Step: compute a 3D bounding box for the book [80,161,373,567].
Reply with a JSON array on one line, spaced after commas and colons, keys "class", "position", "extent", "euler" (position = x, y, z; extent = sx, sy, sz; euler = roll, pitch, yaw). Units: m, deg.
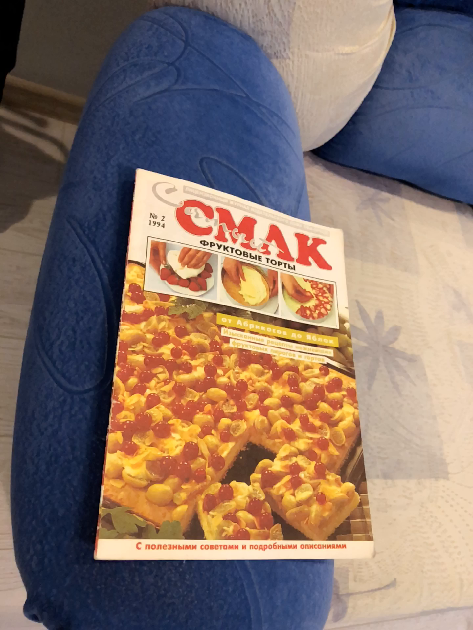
[{"class": "book", "position": [0.006, 0.027, 0.330], "extent": [0.172, 0.010, 0.236], "euler": [12, 66, -23]}]
